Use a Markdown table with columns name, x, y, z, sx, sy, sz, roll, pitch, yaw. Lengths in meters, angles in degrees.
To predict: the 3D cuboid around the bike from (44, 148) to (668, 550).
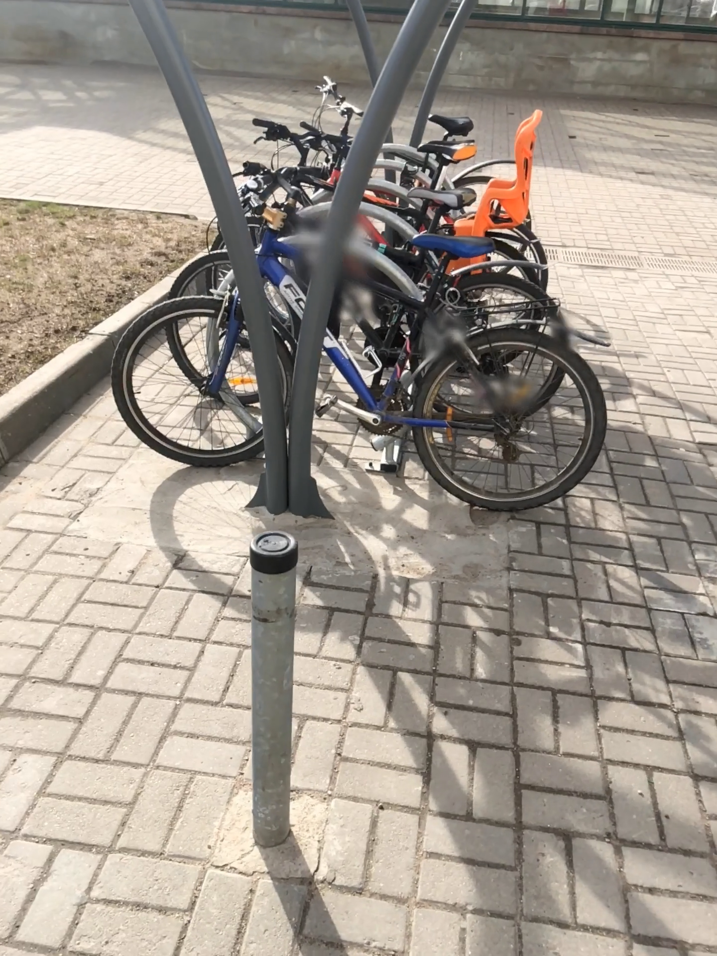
| name | x | y | z | sx | sy | sz | roll | pitch | yaw |
| --- | --- | --- | --- | --- | --- | --- | --- | --- | --- |
| bike | 0.018 | -0.442 | 2.571 | 1.659 | 0.959 | 0.630 | 7 | 32 | 4 |
